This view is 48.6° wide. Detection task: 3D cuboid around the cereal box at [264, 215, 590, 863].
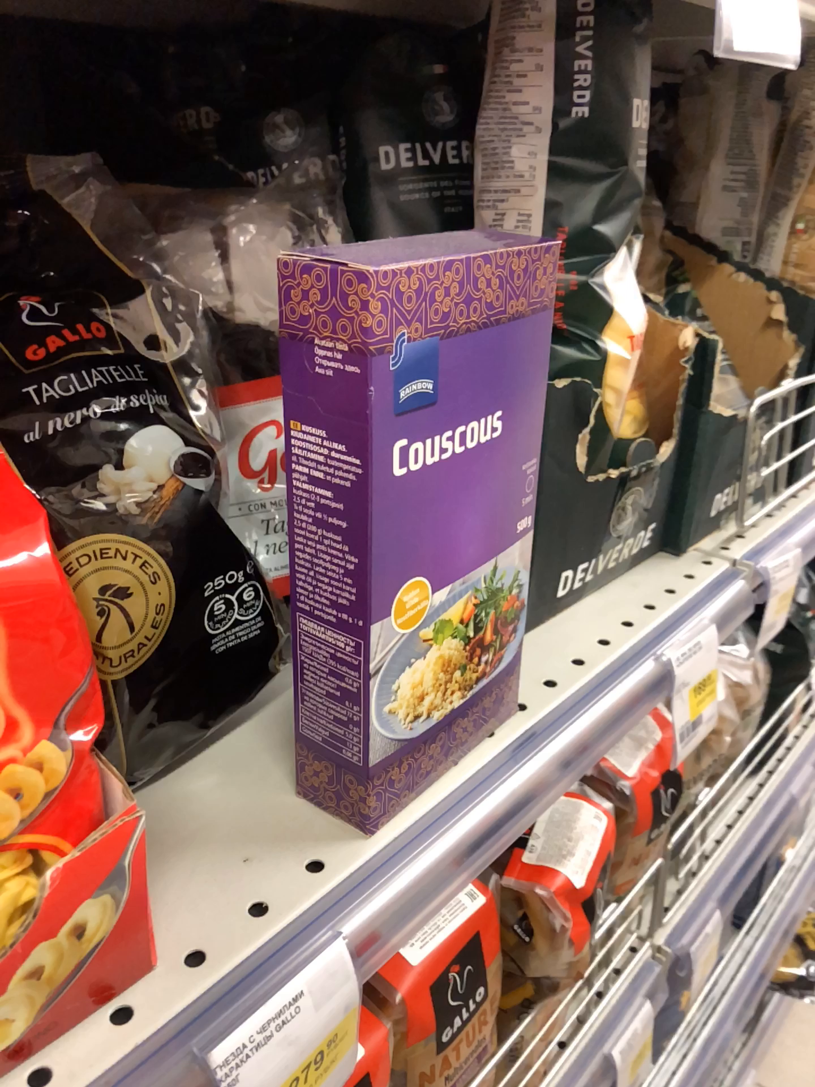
[{"bbox_3d":[0.007,-0.005,0.315,0.040,0.199,0.110,20,30,34],"label":"cereal box"}]
